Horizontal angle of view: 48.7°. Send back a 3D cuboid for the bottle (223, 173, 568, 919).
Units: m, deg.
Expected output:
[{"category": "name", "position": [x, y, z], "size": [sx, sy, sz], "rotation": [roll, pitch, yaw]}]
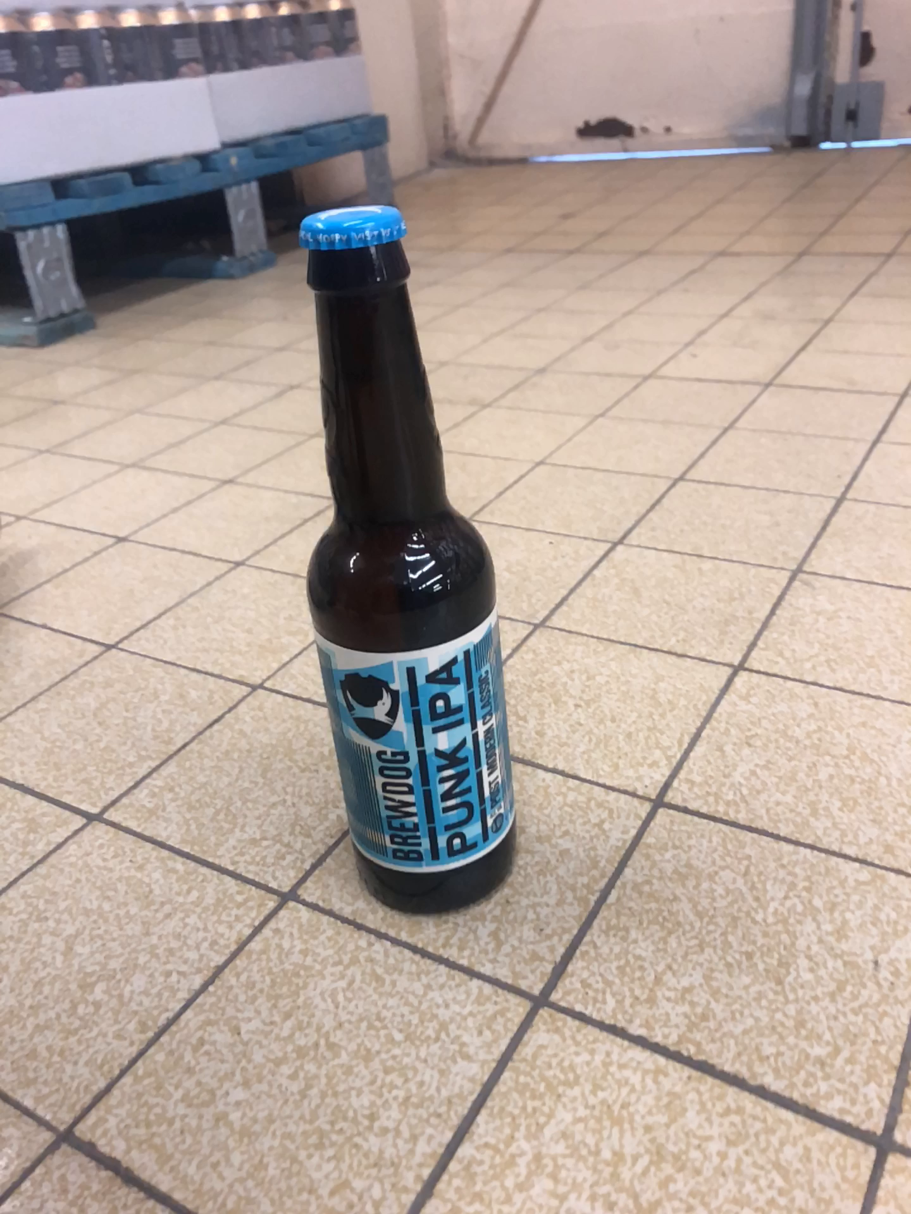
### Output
[{"category": "bottle", "position": [-0.012, -0.013, 0.307], "size": [0.070, 0.209, 0.070], "rotation": [-5, 28, 3]}]
